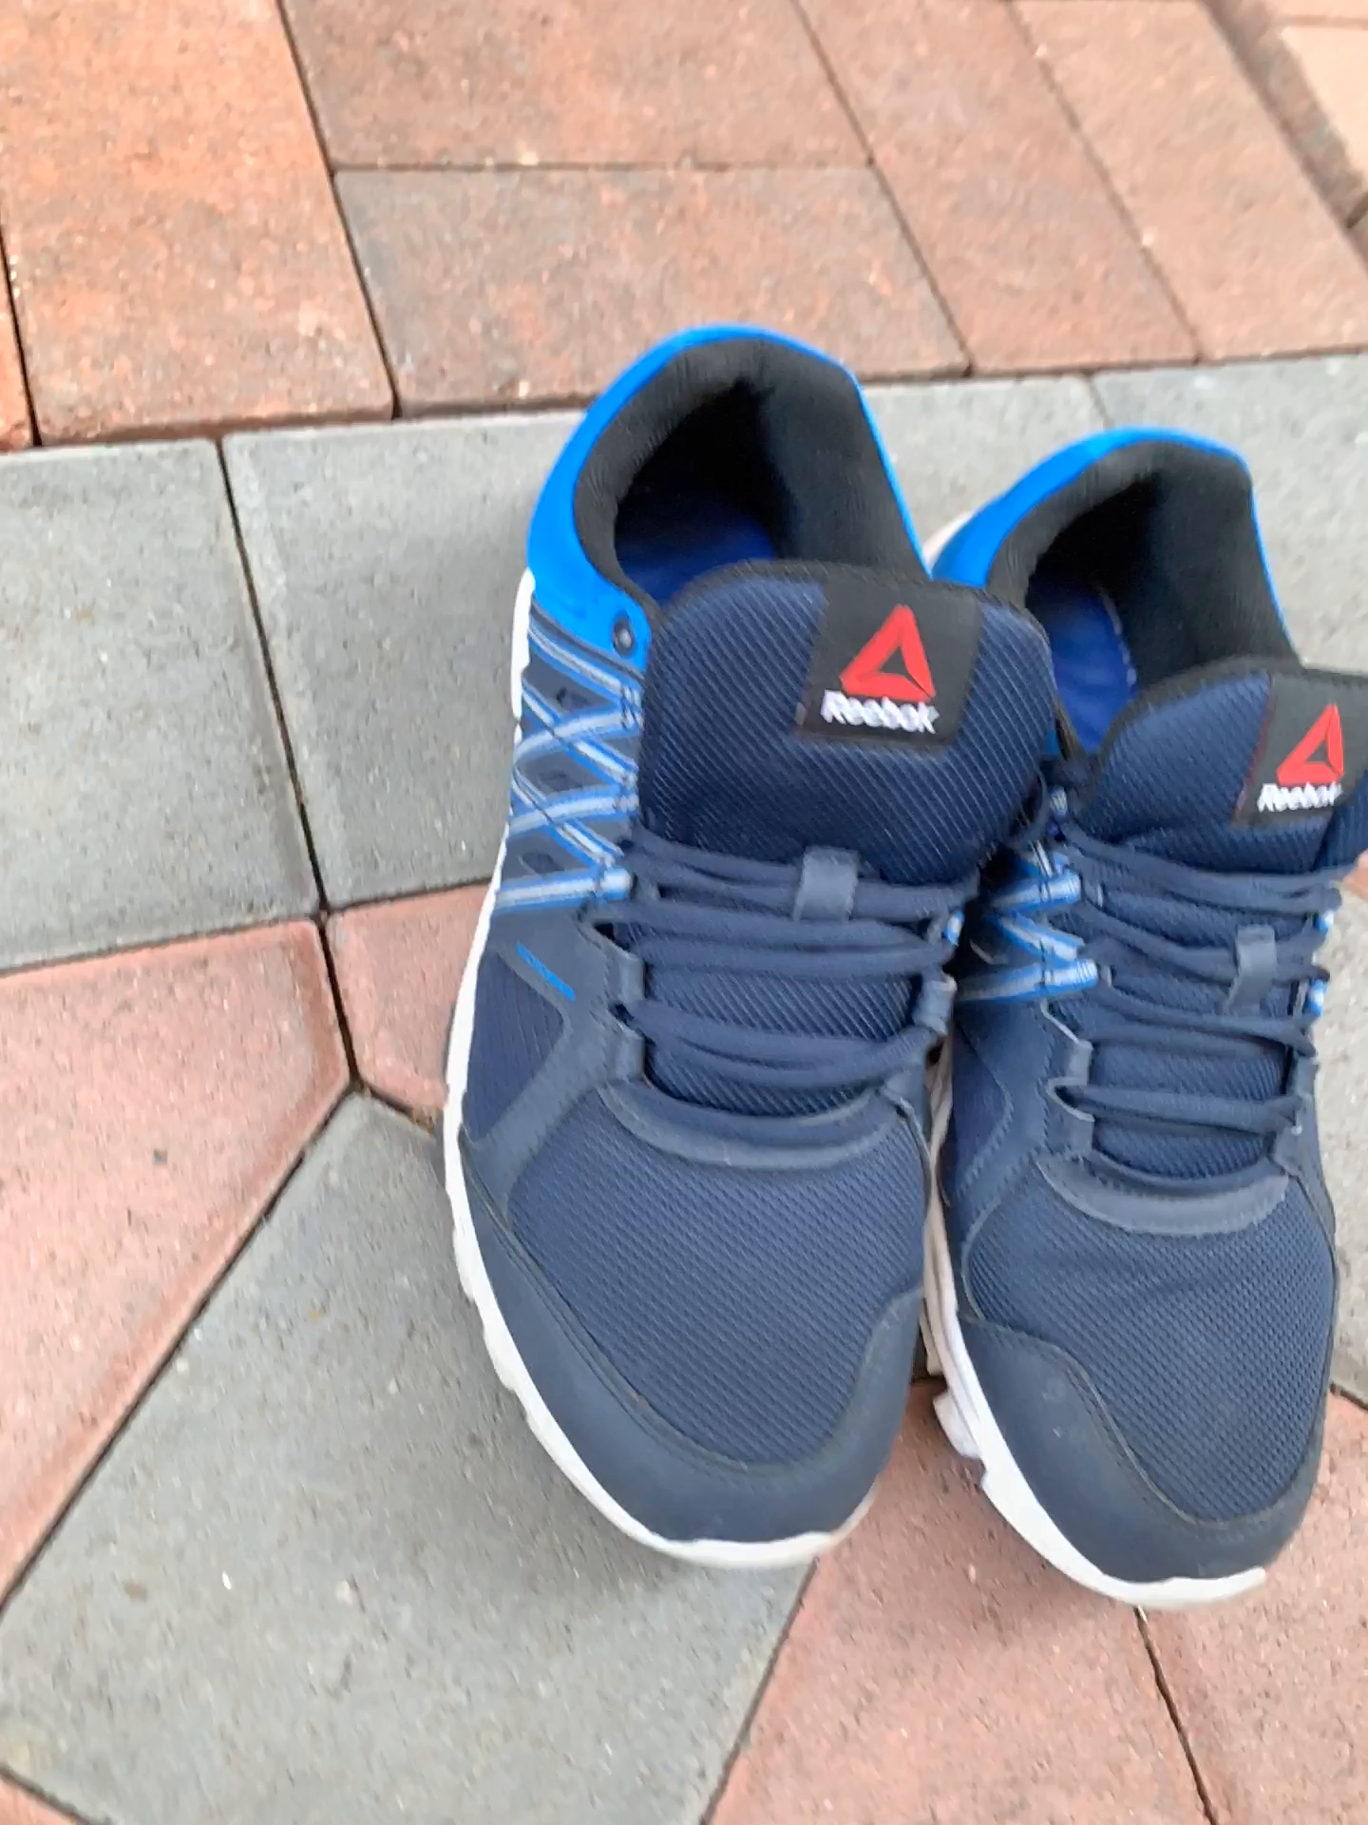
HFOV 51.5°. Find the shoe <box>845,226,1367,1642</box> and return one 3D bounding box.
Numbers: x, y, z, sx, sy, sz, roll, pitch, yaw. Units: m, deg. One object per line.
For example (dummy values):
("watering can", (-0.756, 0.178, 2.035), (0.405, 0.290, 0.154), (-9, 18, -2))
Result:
("shoe", (0.117, 0.003, 0.327), (0.110, 0.119, 0.282), (5, 66, -13))

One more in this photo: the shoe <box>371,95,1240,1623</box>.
("shoe", (0.006, -0.009, 0.285), (0.110, 0.119, 0.261), (5, 66, -13))
